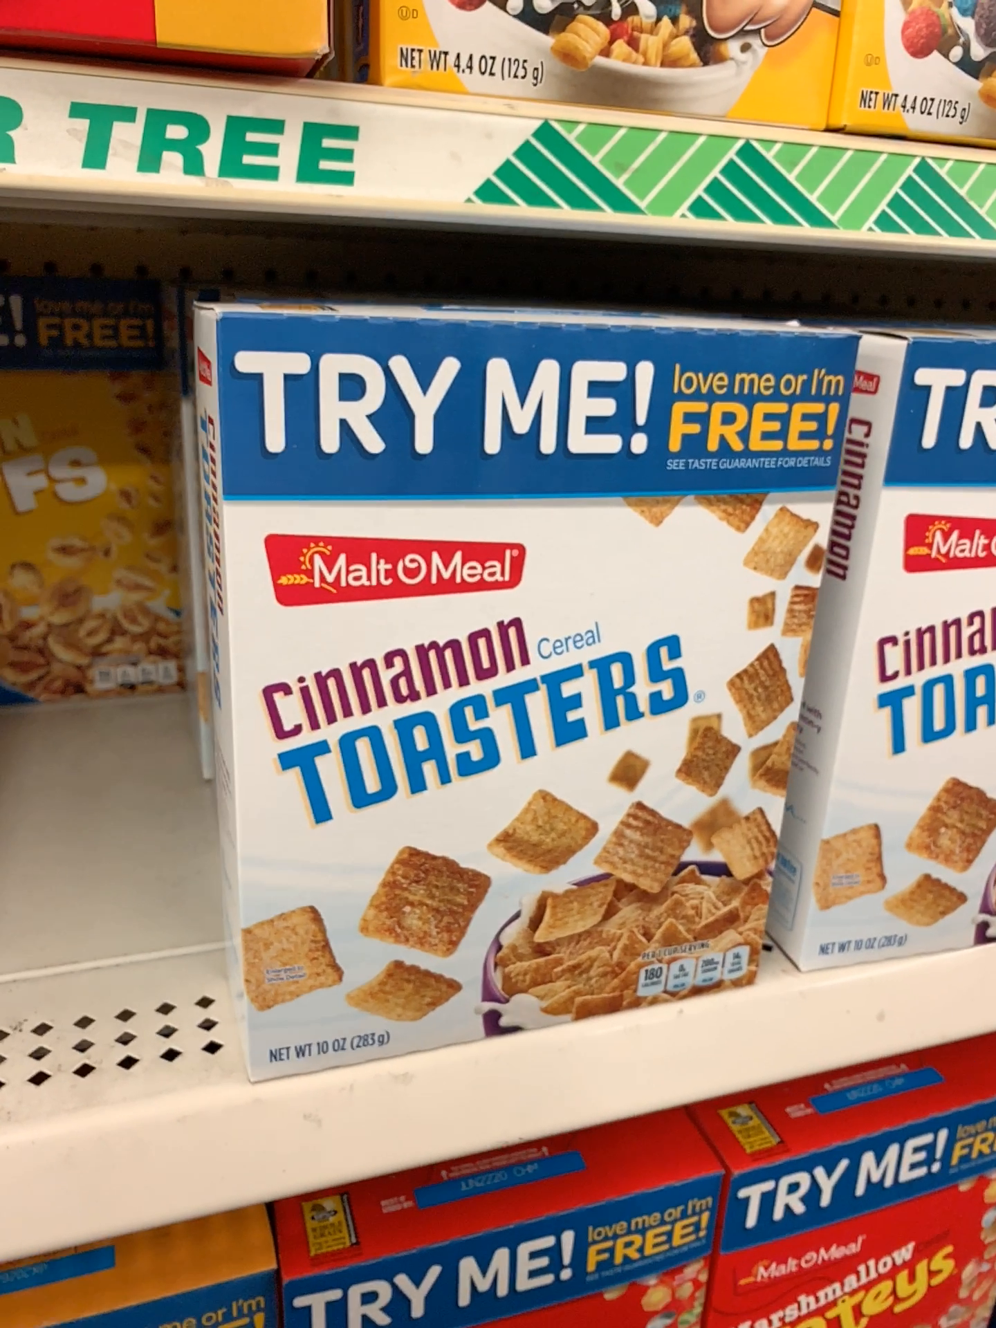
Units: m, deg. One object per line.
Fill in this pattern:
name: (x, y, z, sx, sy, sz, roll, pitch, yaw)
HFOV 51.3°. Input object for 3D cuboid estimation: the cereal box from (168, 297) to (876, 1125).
cereal box: (0.002, 0.012, 0.295, 0.170, 0.209, 0.050, -4, 22, -20)
